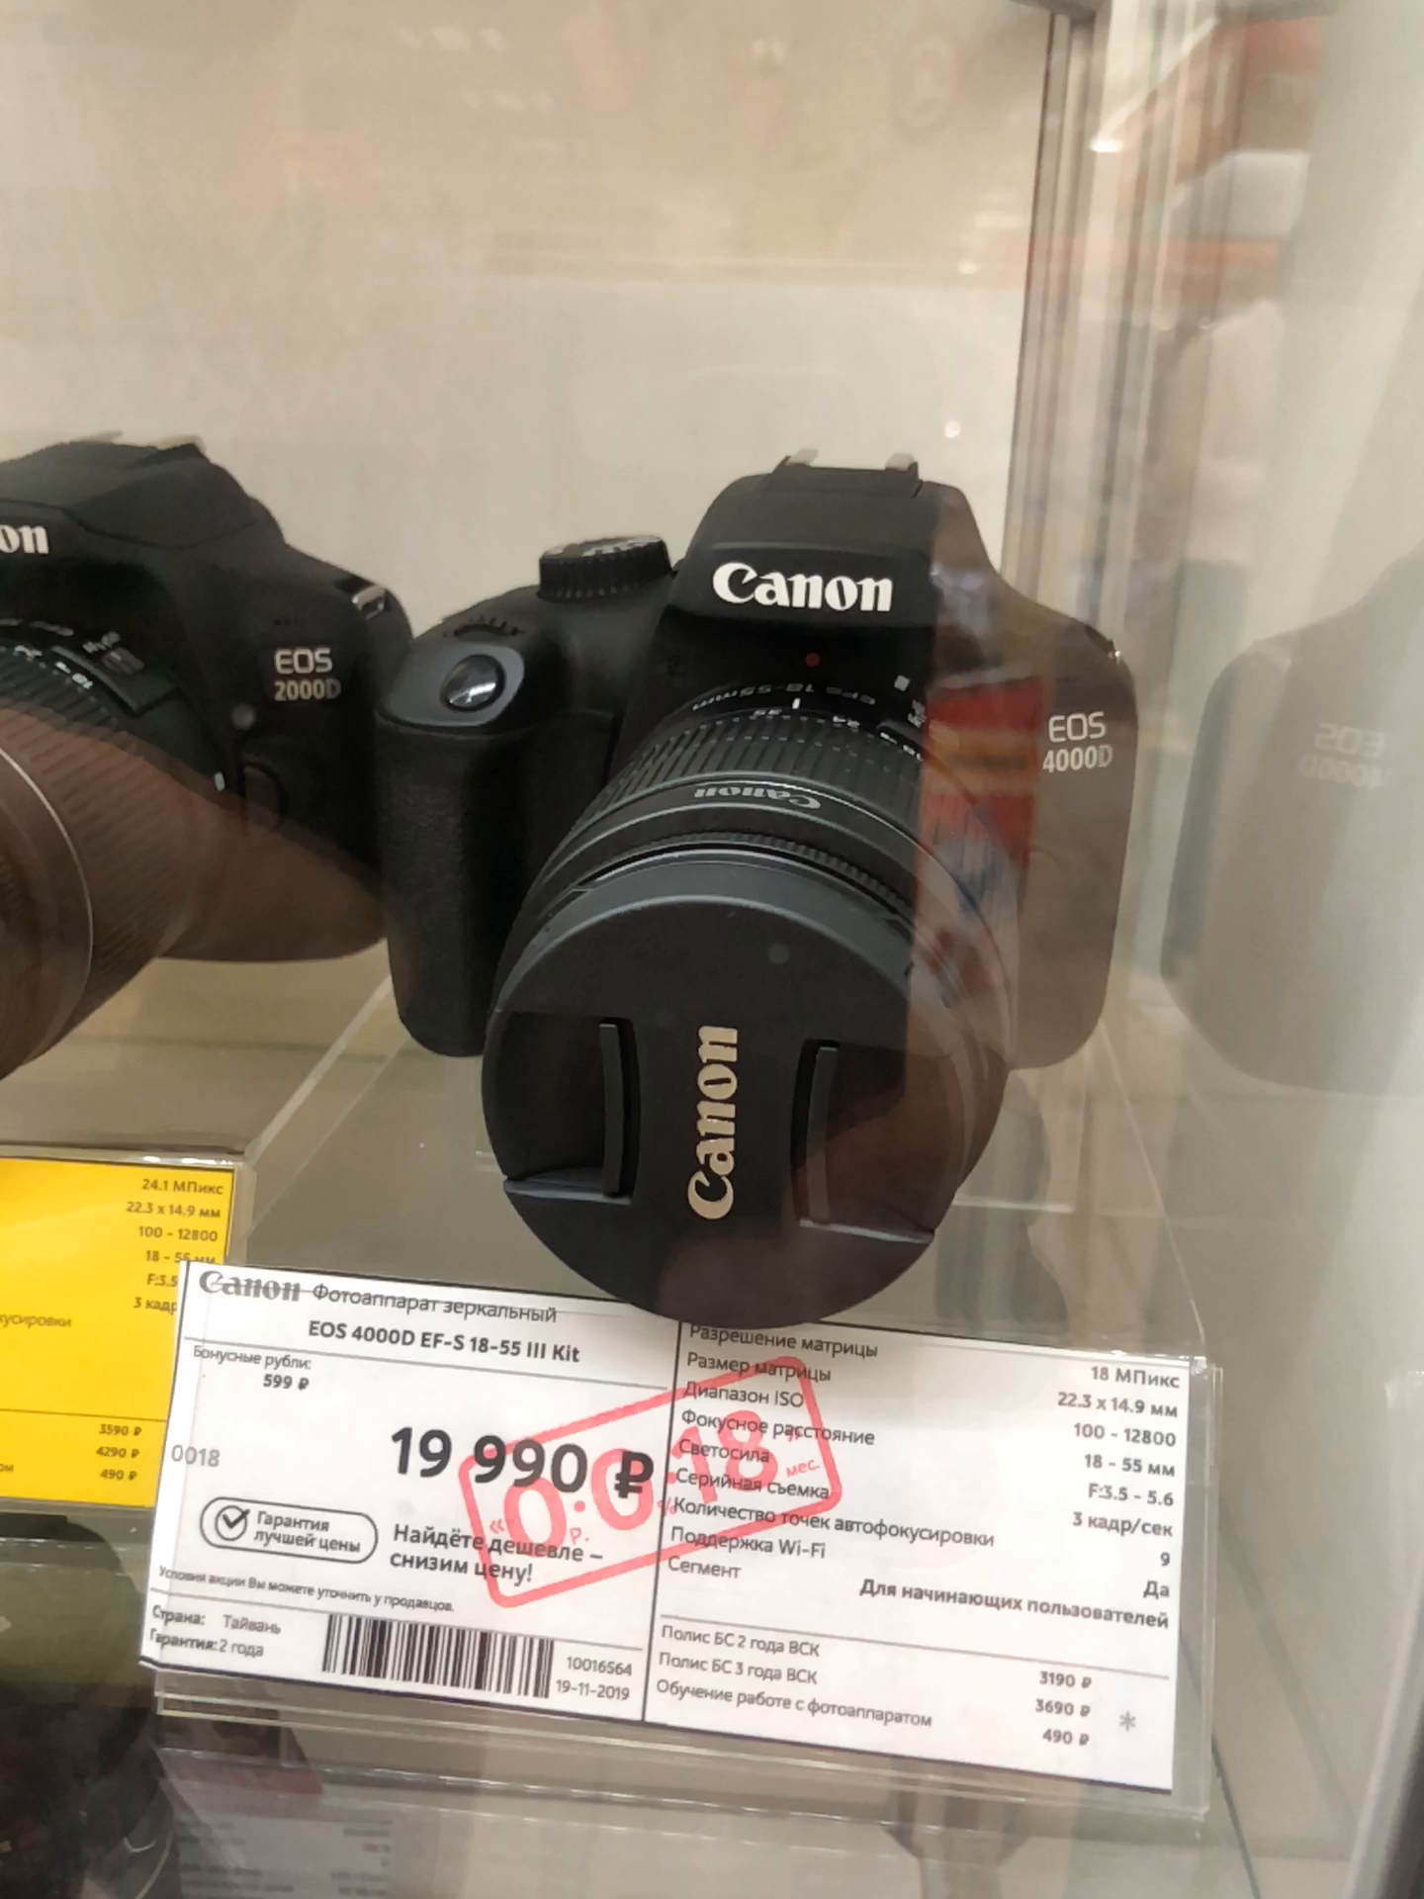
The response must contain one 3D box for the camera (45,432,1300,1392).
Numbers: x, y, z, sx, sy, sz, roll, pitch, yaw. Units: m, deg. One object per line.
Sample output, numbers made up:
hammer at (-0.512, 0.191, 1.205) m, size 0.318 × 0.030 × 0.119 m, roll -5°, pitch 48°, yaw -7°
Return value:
camera at (0.000, -0.024, 0.242) m, size 0.125 × 0.100 × 0.147 m, roll 4°, pitch 18°, yaw 5°
